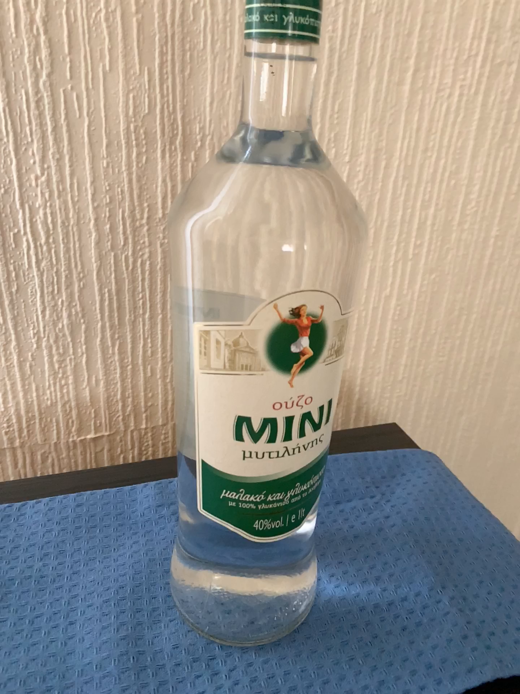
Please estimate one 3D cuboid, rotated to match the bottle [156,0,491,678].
[{"bbox_3d":[0.005,0.002,0.243,0.090,0.317,0.071,-4,26,-17],"label":"bottle"}]
